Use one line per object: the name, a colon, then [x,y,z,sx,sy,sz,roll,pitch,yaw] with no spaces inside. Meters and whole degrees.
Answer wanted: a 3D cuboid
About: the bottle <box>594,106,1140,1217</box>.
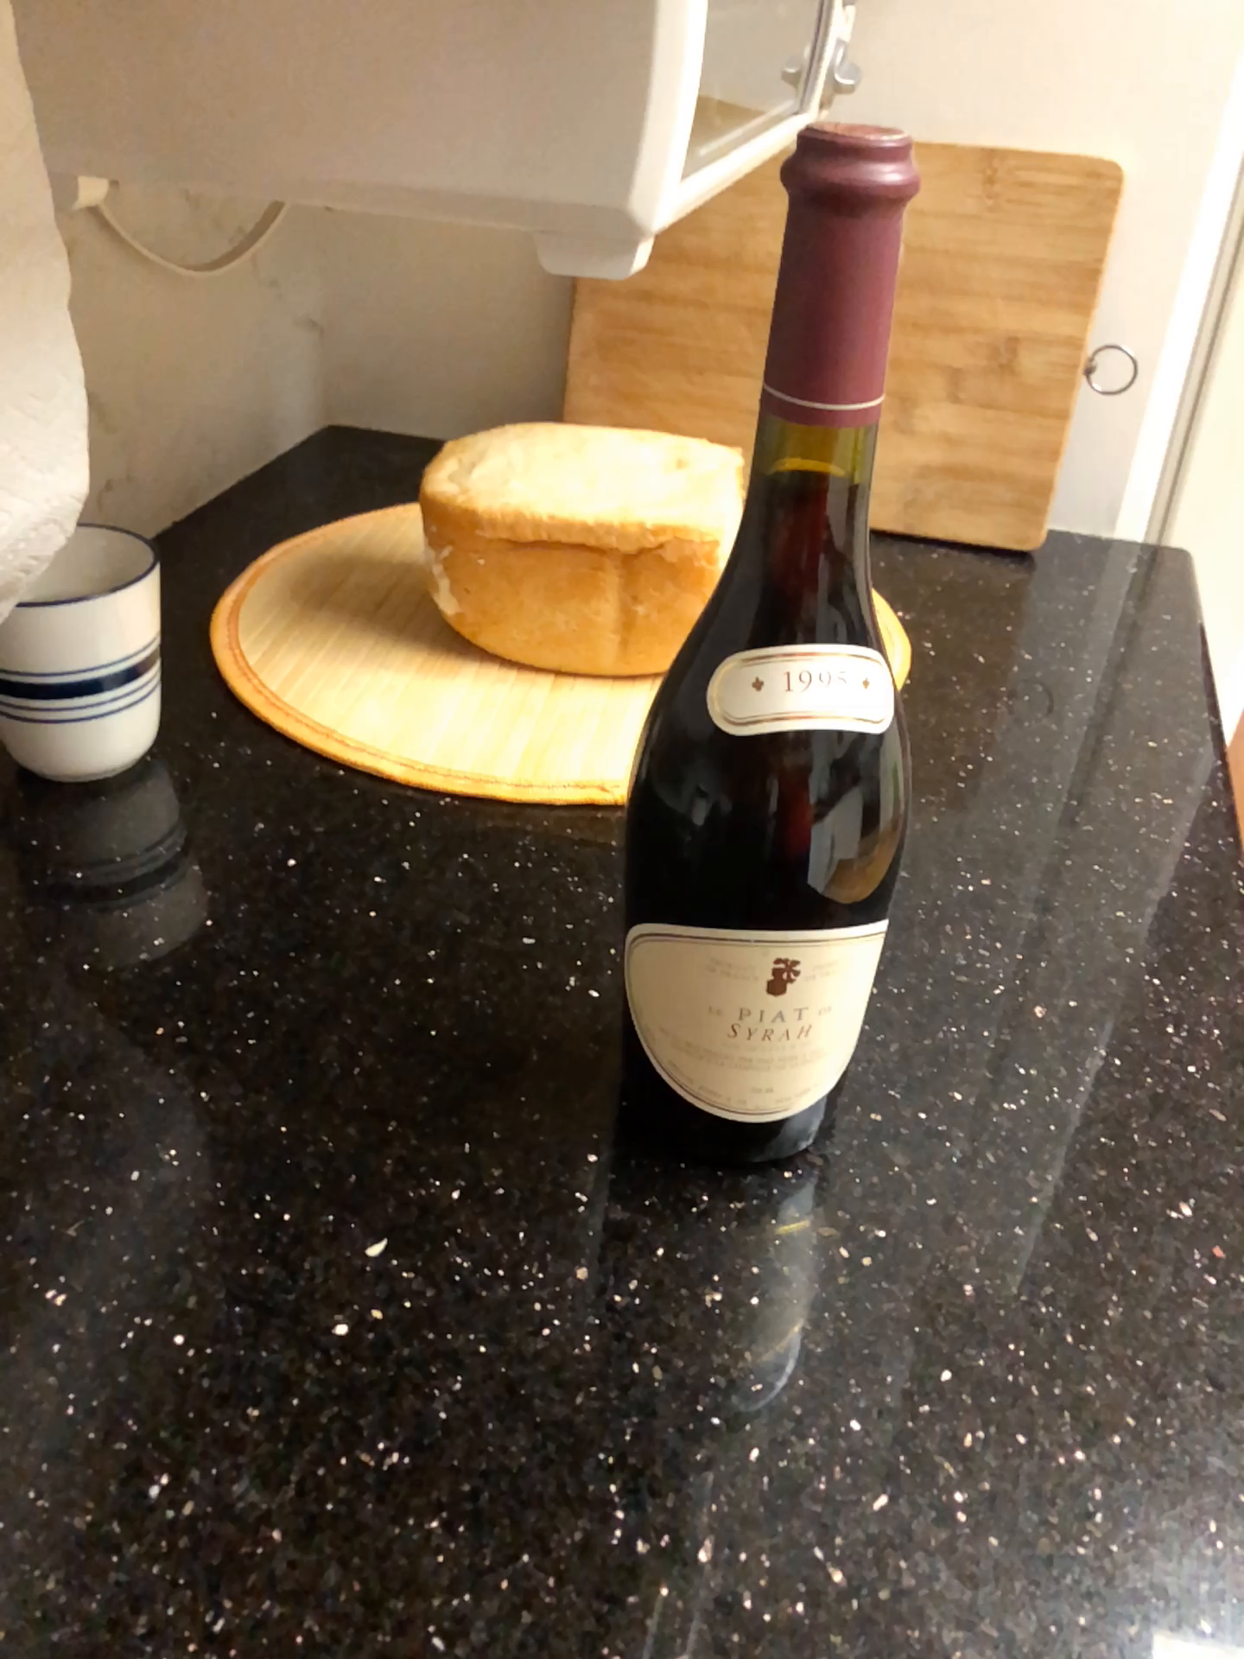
bottle: [0.049,-0.030,0.400,0.090,0.308,0.090,3,33,-2]
